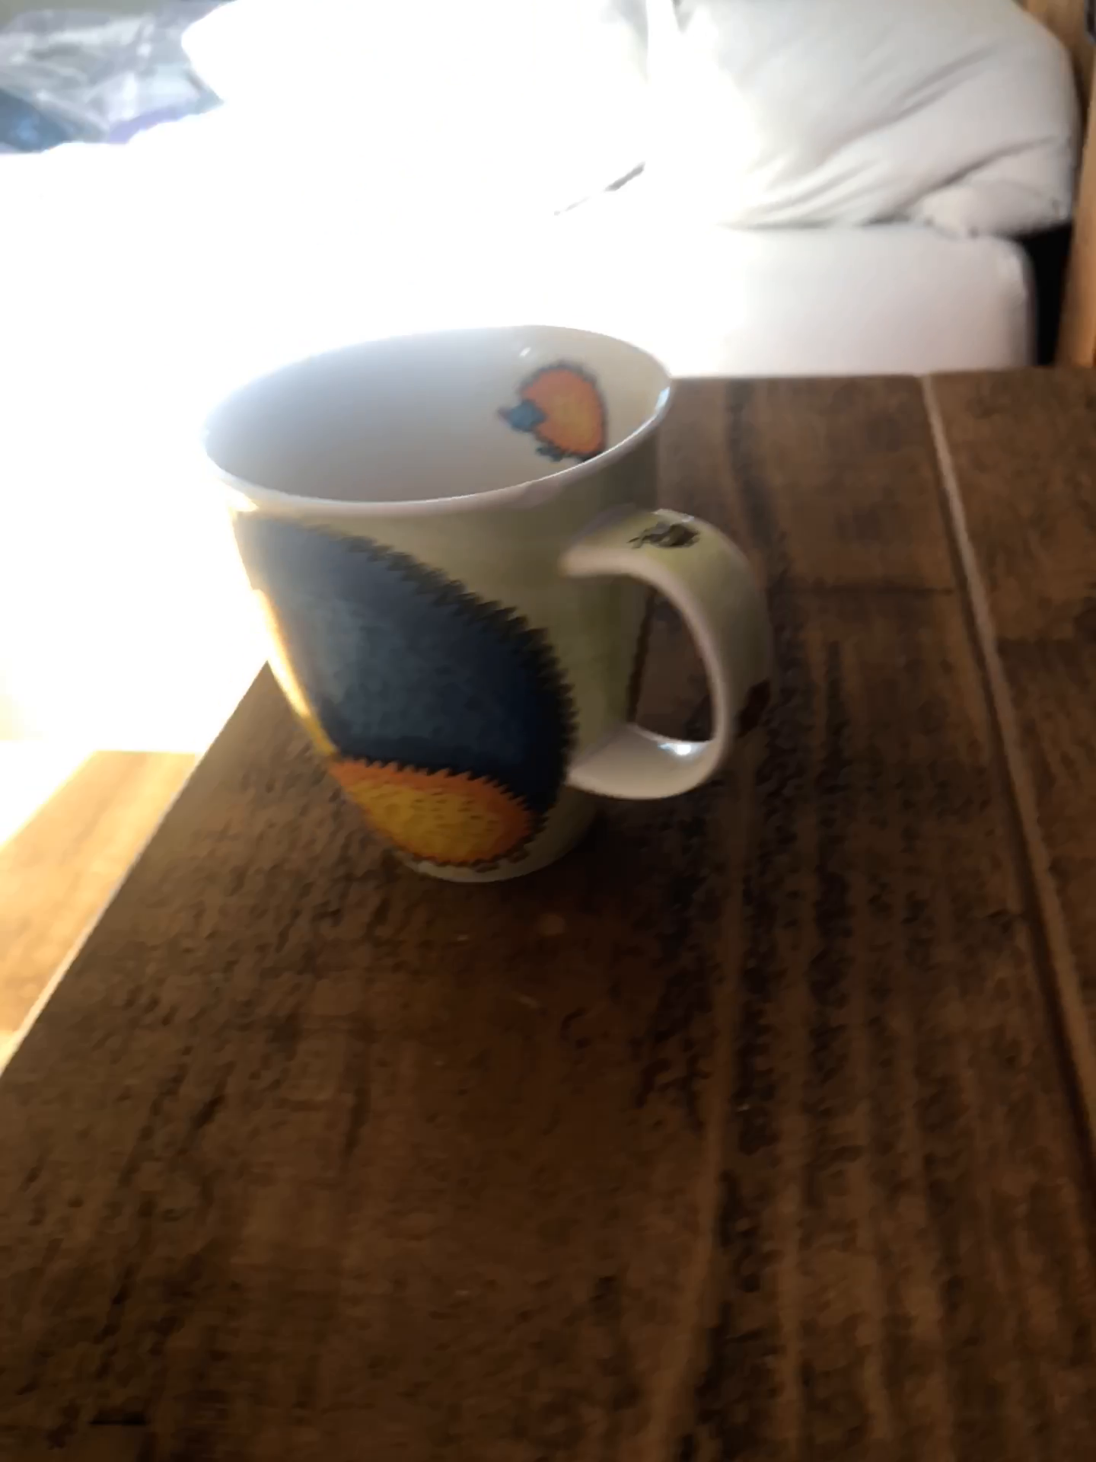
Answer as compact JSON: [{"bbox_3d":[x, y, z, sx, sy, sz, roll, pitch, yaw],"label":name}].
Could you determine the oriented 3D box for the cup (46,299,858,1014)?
[{"bbox_3d":[-0.017,-0.029,0.274,0.127,0.089,0.107,22,43,33],"label":"cup"}]
